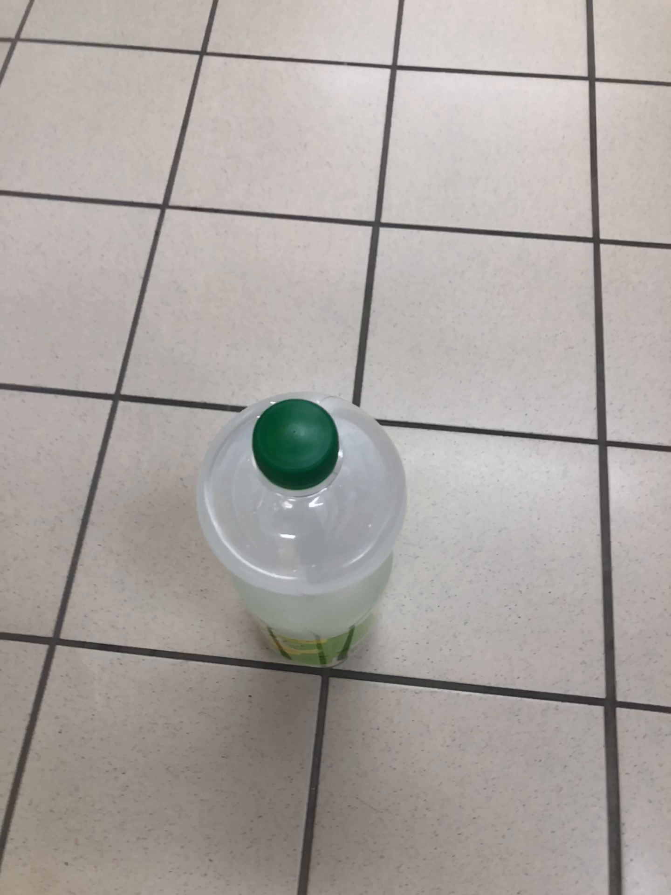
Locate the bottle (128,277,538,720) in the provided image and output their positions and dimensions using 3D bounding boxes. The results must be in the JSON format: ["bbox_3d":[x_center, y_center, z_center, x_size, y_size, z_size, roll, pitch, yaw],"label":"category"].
[{"bbox_3d":[-0.001,0.061,0.388,0.100,0.309,0.100,0,67,1],"label":"bottle"}]
